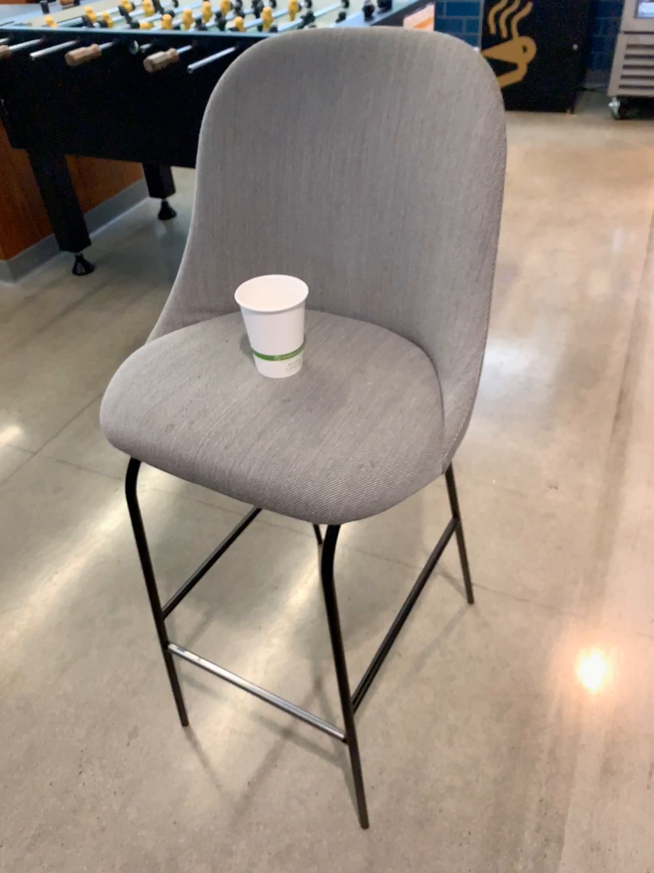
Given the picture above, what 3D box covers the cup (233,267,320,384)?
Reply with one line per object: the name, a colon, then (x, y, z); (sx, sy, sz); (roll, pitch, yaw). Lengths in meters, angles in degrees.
cup: (-0.060, -0.134, 0.813); (0.090, 0.099, 0.091); (-3, 40, 2)
